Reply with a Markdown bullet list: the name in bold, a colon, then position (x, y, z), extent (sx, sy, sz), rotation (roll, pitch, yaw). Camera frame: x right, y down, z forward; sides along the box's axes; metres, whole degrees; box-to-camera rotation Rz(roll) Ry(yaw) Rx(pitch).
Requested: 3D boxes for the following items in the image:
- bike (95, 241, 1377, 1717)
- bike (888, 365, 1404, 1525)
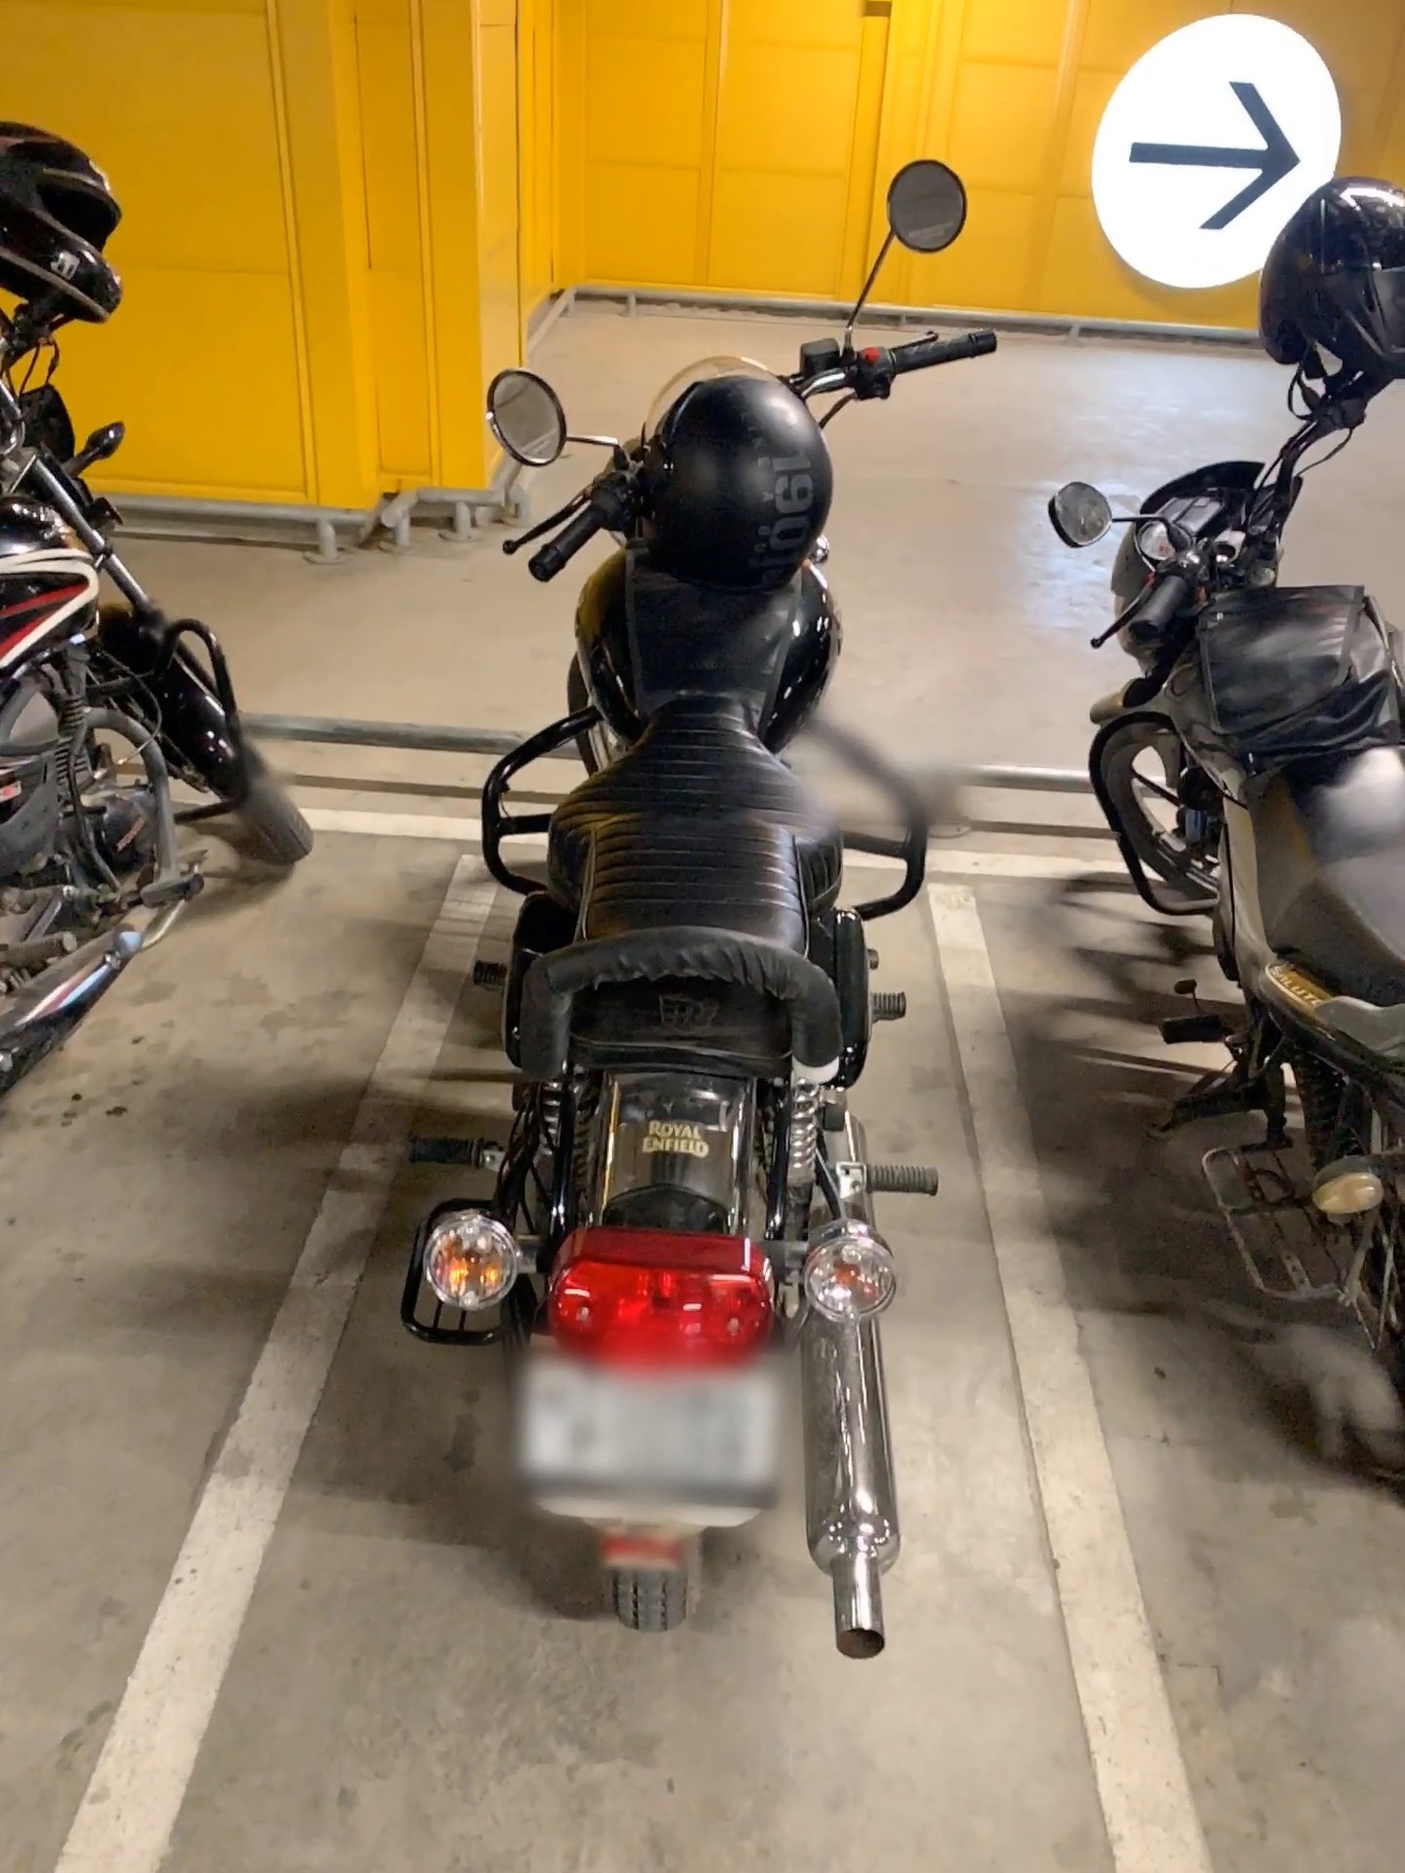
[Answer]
- **bike**: position (-0.124, -0.206, 1.900), extent (0.763, 1.051, 1.834), rotation (0, 32, -6)
- **bike**: position (0.736, -0.192, 2.057), extent (0.598, 0.925, 1.727), rotation (2, 30, -3)
